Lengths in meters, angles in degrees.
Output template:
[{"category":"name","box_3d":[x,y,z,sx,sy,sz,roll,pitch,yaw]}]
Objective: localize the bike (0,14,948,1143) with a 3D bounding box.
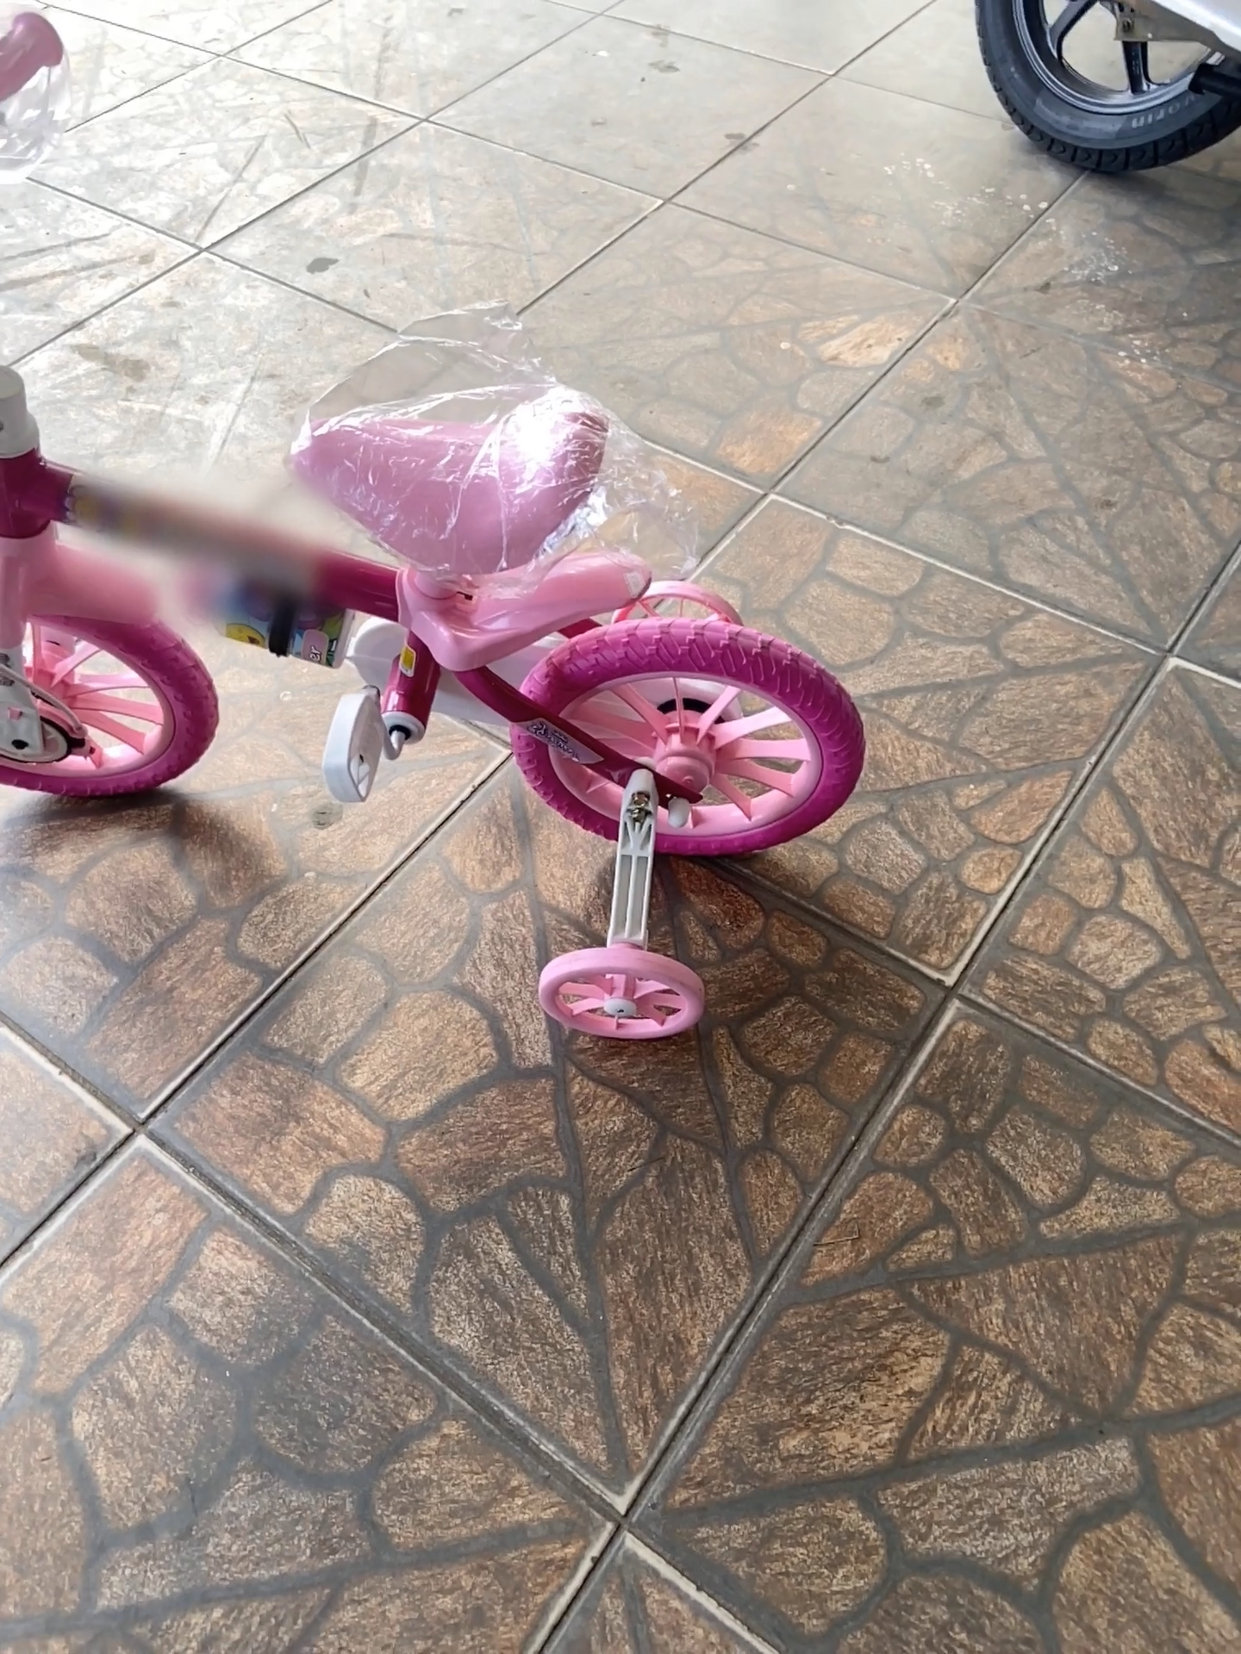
[{"category":"bike","box_3d":[-0.235,-0.168,0.931,0.791,0.563,0.513,5,54,6]}]
